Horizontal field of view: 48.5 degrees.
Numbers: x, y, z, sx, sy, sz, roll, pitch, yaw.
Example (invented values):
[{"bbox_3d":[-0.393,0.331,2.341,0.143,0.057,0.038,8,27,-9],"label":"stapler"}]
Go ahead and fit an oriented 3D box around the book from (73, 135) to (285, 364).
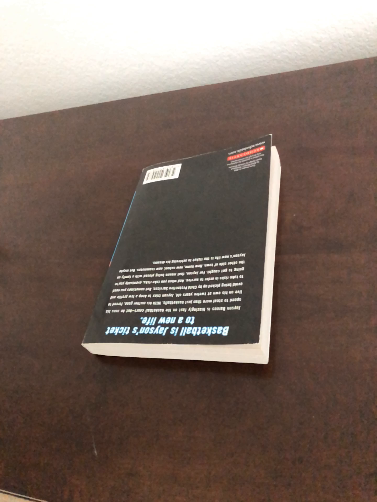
[{"bbox_3d":[0.003,-0.008,0.352,0.140,0.036,0.199,-6,50,23],"label":"book"}]
